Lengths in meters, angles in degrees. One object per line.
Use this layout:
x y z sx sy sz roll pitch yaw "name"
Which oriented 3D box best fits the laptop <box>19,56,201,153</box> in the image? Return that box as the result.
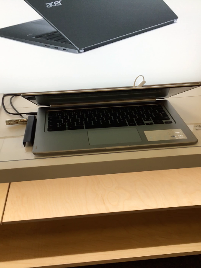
0.022 -0.080 0.622 0.359 0.139 0.213 -4 36 -4 "laptop"
